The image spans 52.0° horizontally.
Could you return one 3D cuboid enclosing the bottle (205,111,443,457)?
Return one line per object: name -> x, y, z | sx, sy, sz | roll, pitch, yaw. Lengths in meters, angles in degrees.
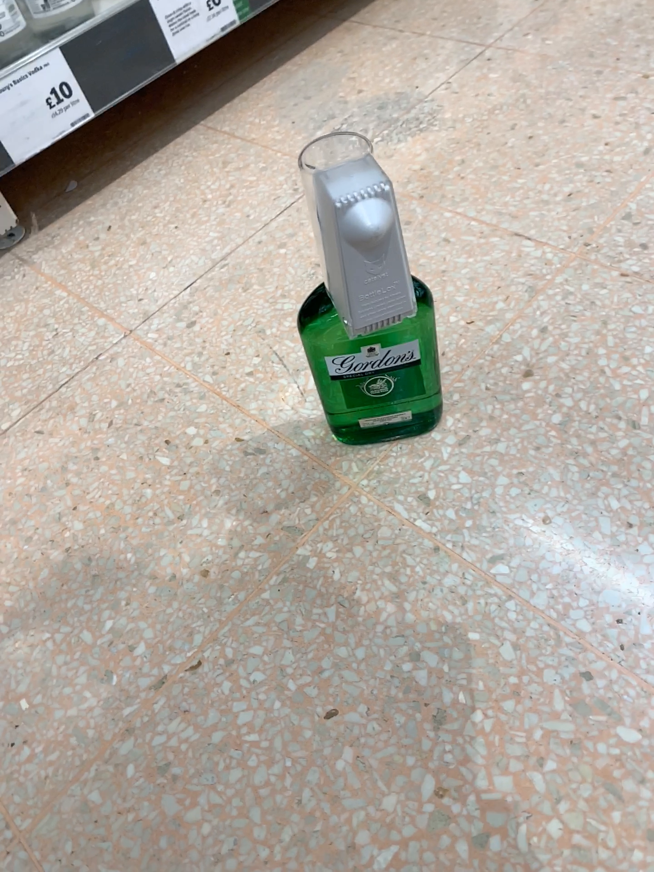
bottle -> 0.009, -0.077, 0.414 | 0.102, 0.203, 0.056 | -10, 51, 7
